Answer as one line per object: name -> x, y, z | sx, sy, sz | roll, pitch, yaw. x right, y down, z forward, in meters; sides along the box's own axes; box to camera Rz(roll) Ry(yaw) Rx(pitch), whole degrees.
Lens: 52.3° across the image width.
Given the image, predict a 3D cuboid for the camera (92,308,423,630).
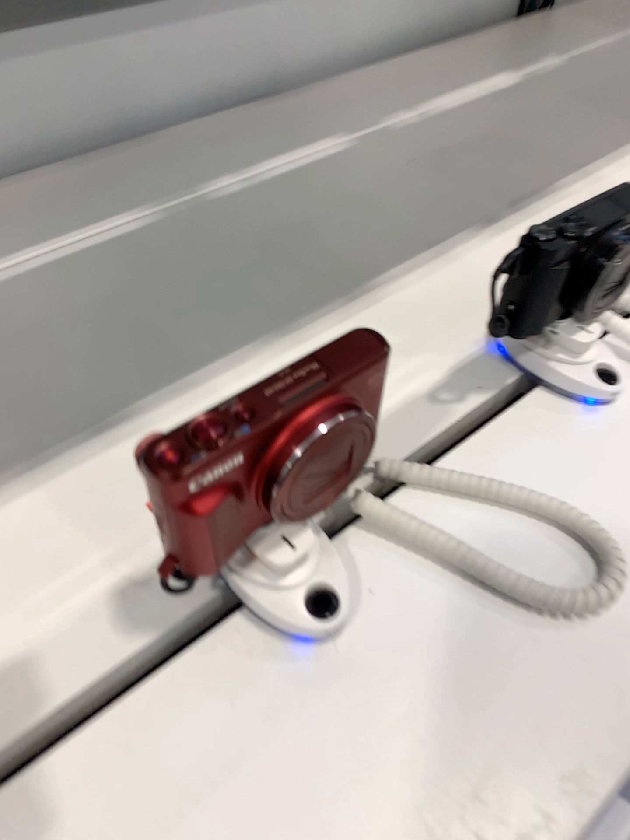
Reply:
camera -> -0.017, 0.017, 0.257 | 0.120, 0.070, 0.040 | -33, 57, -27
